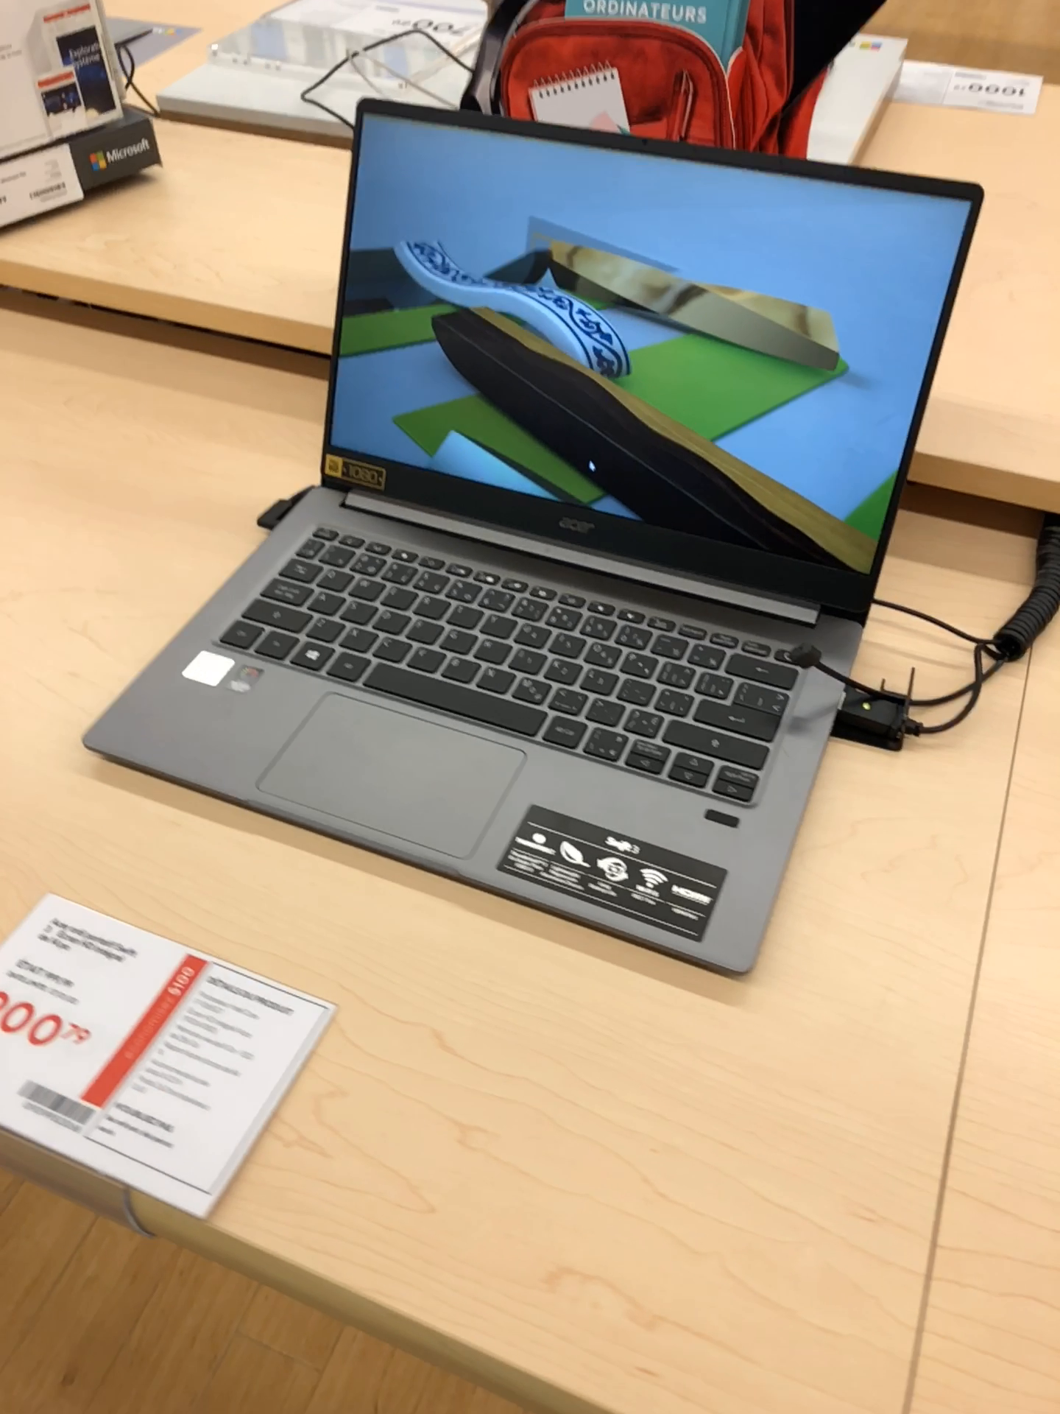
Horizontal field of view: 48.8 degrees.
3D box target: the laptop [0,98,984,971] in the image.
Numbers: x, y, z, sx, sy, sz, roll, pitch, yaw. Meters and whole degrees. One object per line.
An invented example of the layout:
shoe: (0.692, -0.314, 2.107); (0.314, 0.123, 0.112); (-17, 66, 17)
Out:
laptop: (-0.001, -0.107, 0.529); (0.315, 0.177, 0.312); (16, 49, 16)
